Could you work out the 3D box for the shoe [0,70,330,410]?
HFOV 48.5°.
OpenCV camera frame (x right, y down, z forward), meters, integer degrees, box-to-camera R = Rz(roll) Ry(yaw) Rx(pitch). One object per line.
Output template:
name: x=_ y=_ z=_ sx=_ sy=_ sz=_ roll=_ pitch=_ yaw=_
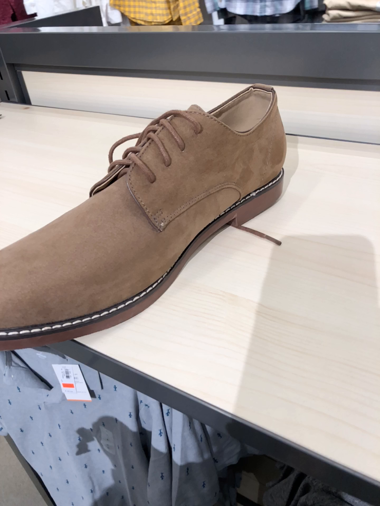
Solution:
shoe: x=-0.032 y=-0.043 z=0.331 sx=0.300 sy=0.110 sz=0.120 roll=-32 pitch=43 yaw=-31
